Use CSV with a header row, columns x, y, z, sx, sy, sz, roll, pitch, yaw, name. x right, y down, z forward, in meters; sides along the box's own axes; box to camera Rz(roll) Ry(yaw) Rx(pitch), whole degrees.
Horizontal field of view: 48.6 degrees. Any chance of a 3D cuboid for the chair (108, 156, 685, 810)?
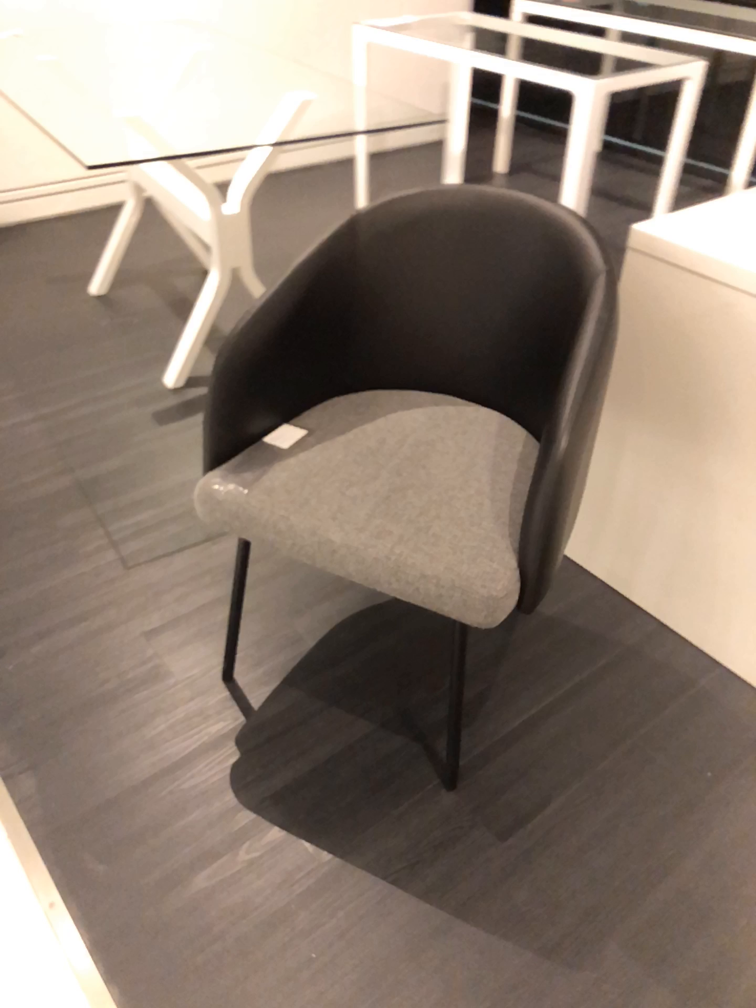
x,y,z,sx,sy,sz,roll,pitch,yaw,name
0.049,-0.073,1.414,0.611,0.764,0.594,20,41,22,chair
